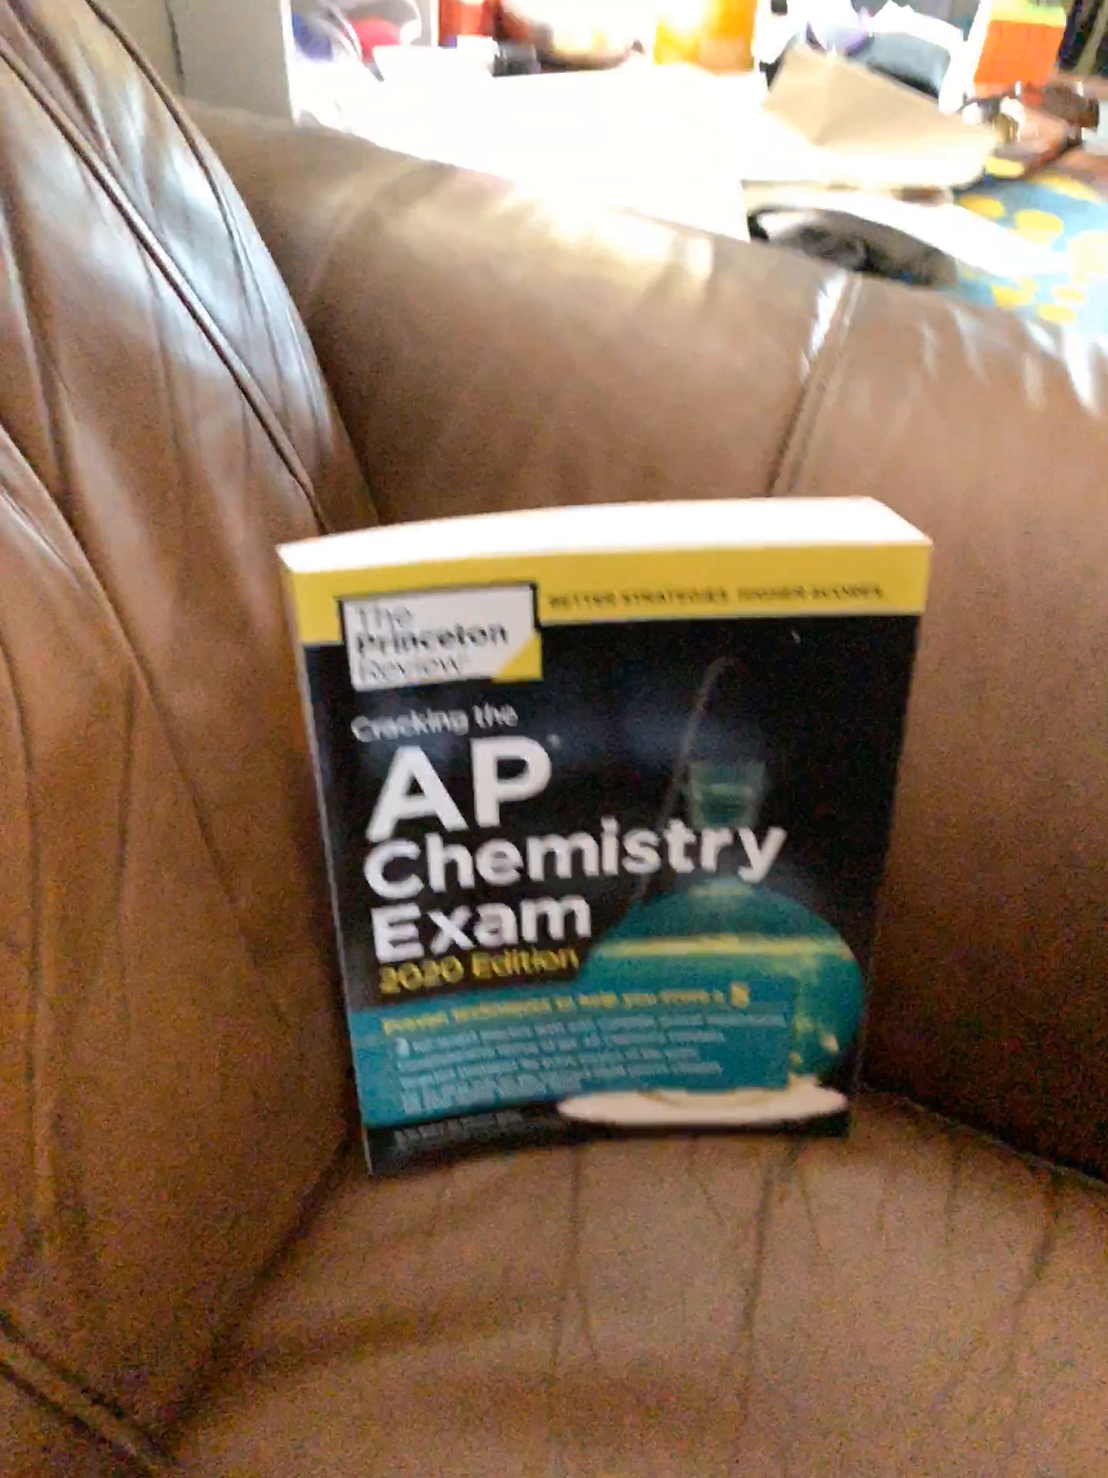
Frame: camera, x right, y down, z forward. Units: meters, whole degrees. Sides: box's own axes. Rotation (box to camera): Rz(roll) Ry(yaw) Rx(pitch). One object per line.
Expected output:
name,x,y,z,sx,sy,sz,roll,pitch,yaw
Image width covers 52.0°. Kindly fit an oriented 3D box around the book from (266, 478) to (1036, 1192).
book,0.028,0.057,0.455,0.240,0.319,0.040,-2,34,-6
